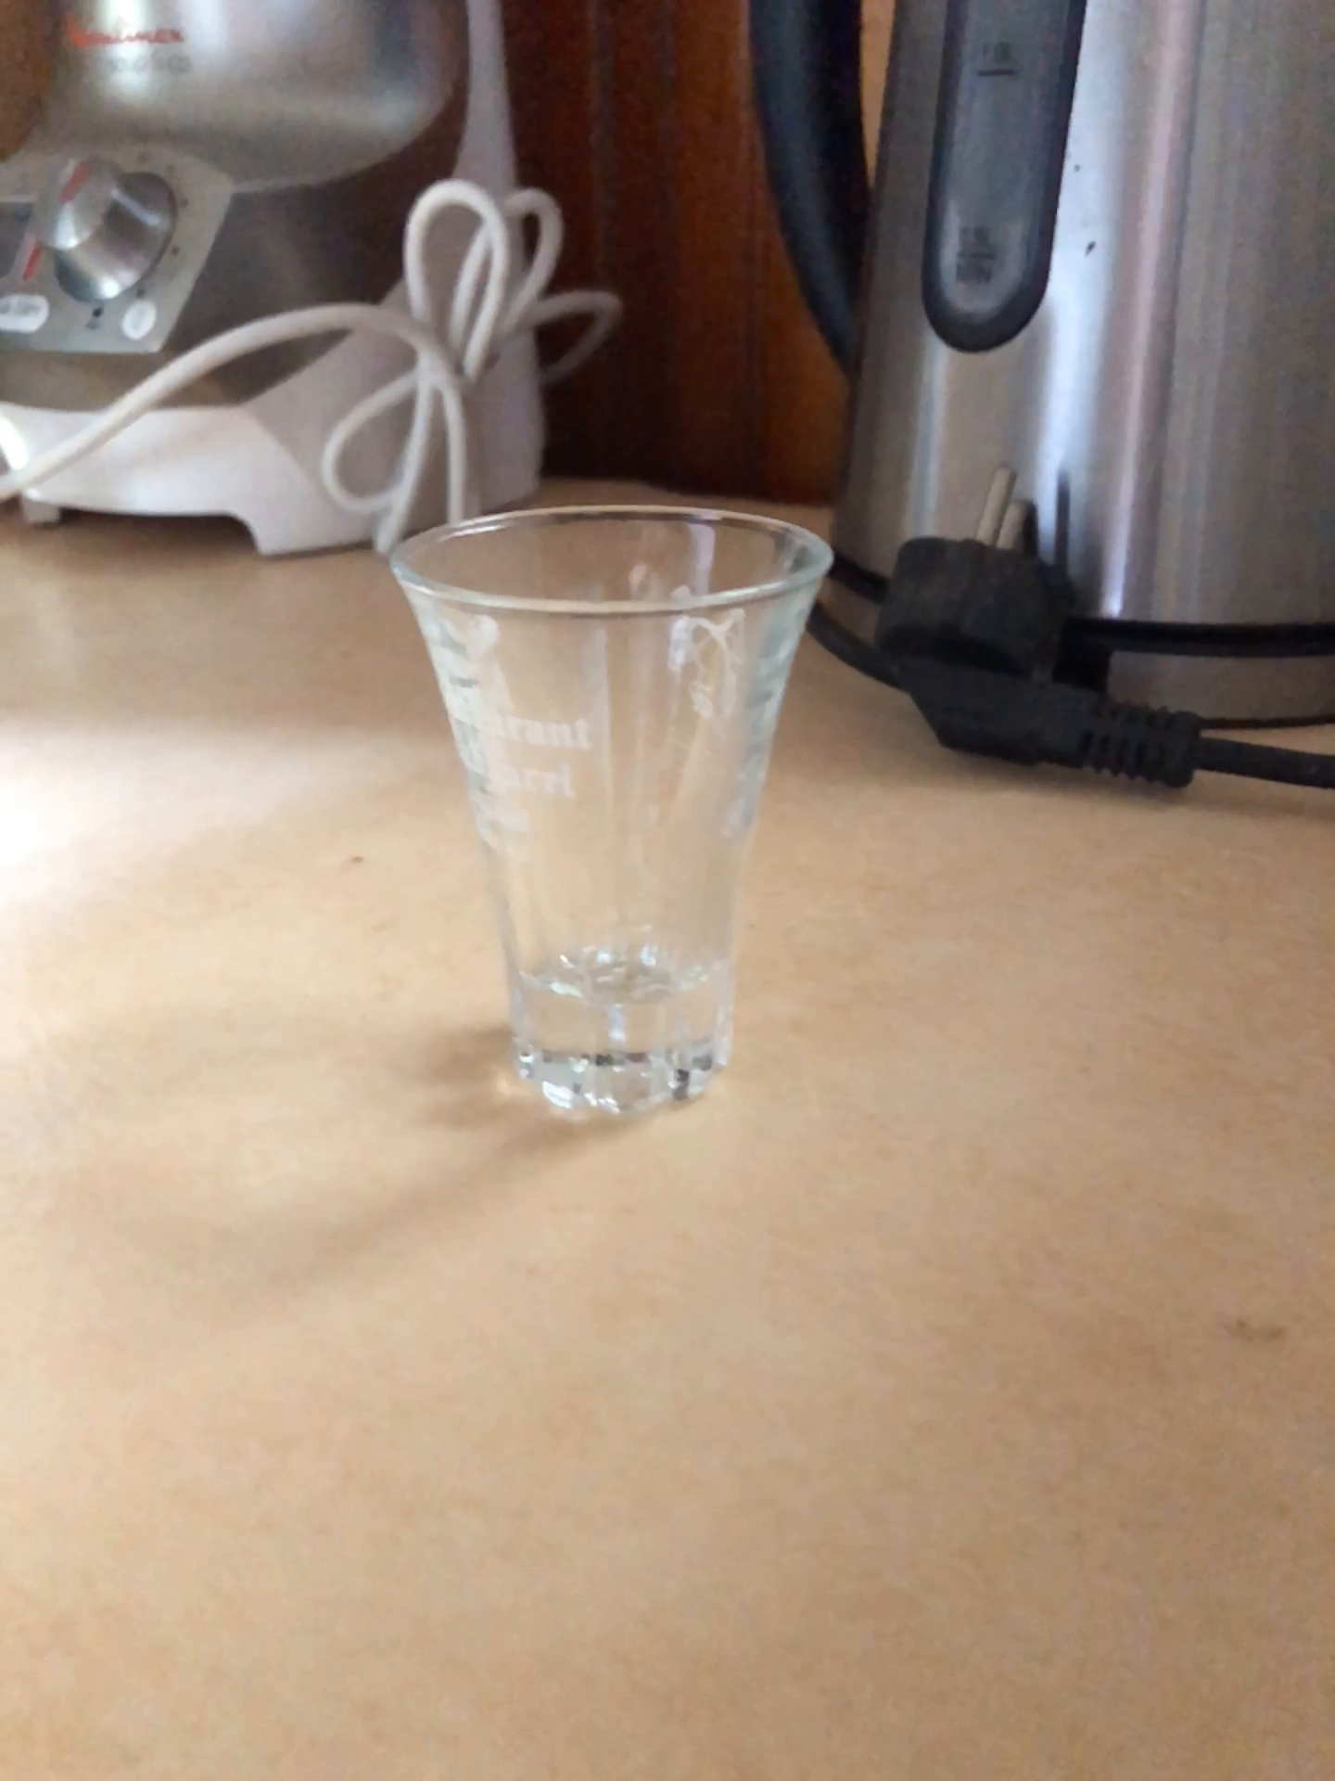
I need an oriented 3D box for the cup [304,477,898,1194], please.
[{"bbox_3d":[-0.007,-0.011,0.193,0.050,0.070,0.050,-1,26,0],"label":"cup"}]
